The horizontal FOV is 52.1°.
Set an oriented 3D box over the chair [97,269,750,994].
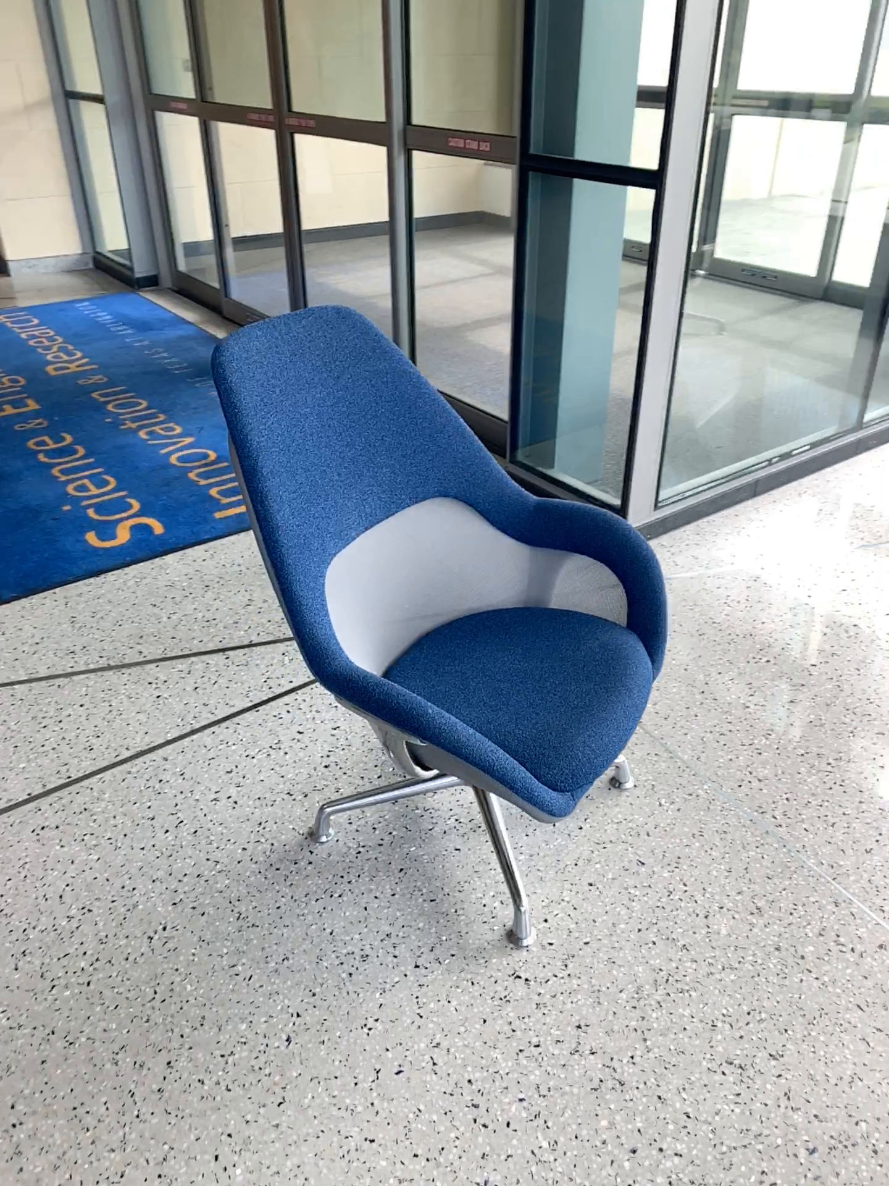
[{"bbox_3d":[0.001,-0.011,1.701,0.786,0.933,0.729,17,35,27],"label":"chair"}]
